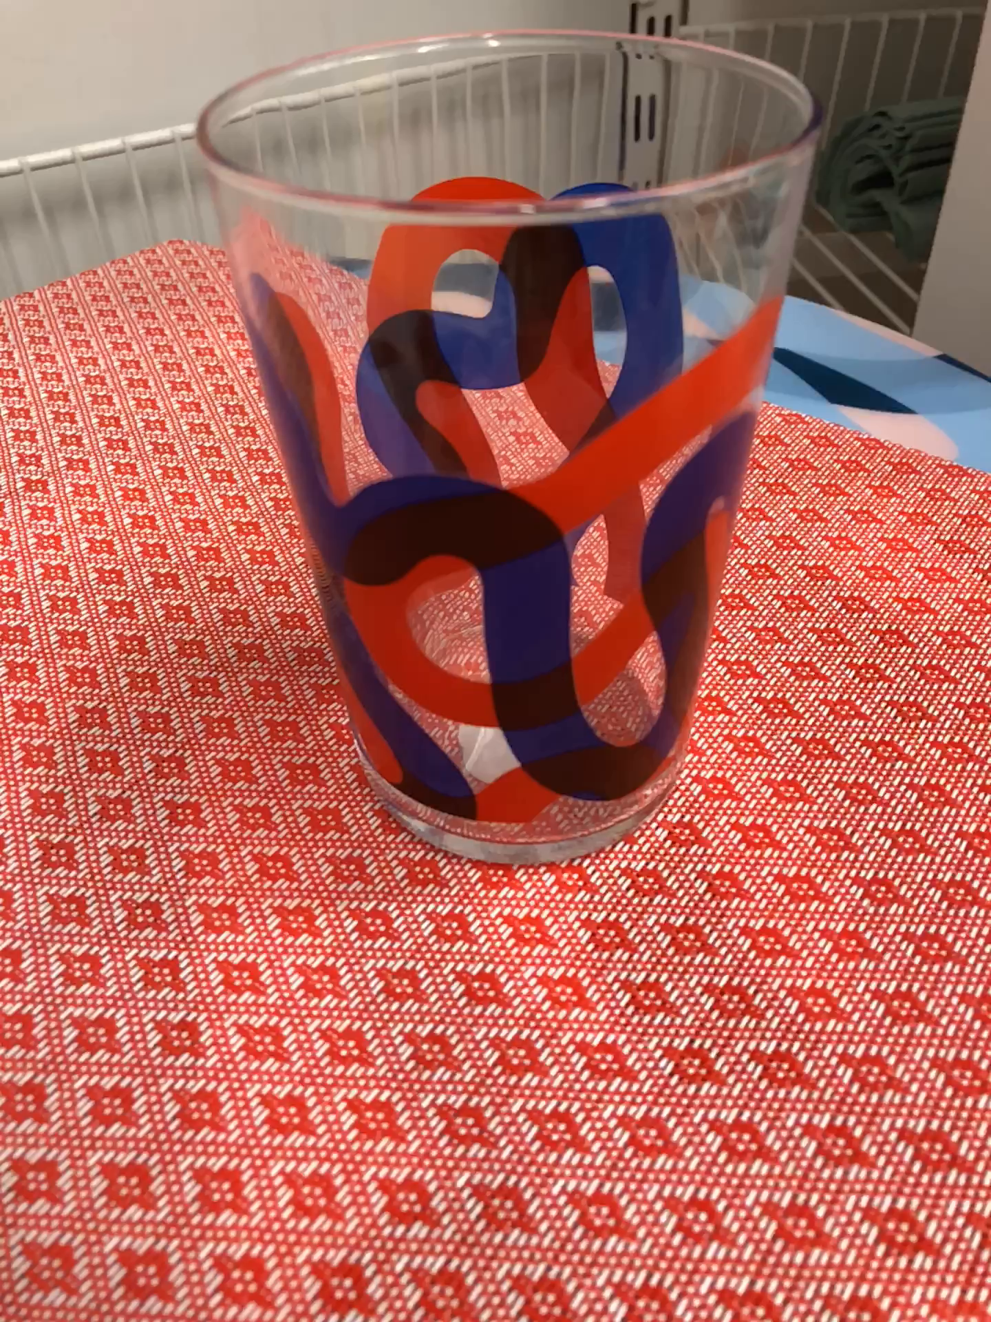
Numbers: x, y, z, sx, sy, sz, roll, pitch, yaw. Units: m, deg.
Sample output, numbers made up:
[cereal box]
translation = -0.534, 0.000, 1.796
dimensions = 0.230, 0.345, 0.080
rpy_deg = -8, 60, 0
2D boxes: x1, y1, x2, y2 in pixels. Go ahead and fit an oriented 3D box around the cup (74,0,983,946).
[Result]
[cup]
translation = 0.002, -0.039, 0.192
dimensions = 0.090, 0.120, 0.090
rpy_deg = -1, 41, 1
